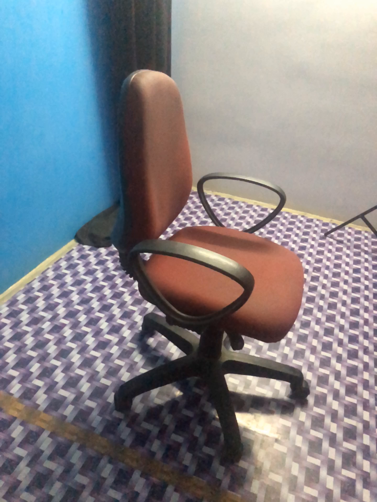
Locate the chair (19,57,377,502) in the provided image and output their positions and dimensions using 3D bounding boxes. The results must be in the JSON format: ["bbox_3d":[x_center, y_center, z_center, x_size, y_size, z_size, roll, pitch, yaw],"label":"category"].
[{"bbox_3d":[0.110,-0.001,1.187,0.739,0.895,0.704,17,32,18],"label":"chair"}]
